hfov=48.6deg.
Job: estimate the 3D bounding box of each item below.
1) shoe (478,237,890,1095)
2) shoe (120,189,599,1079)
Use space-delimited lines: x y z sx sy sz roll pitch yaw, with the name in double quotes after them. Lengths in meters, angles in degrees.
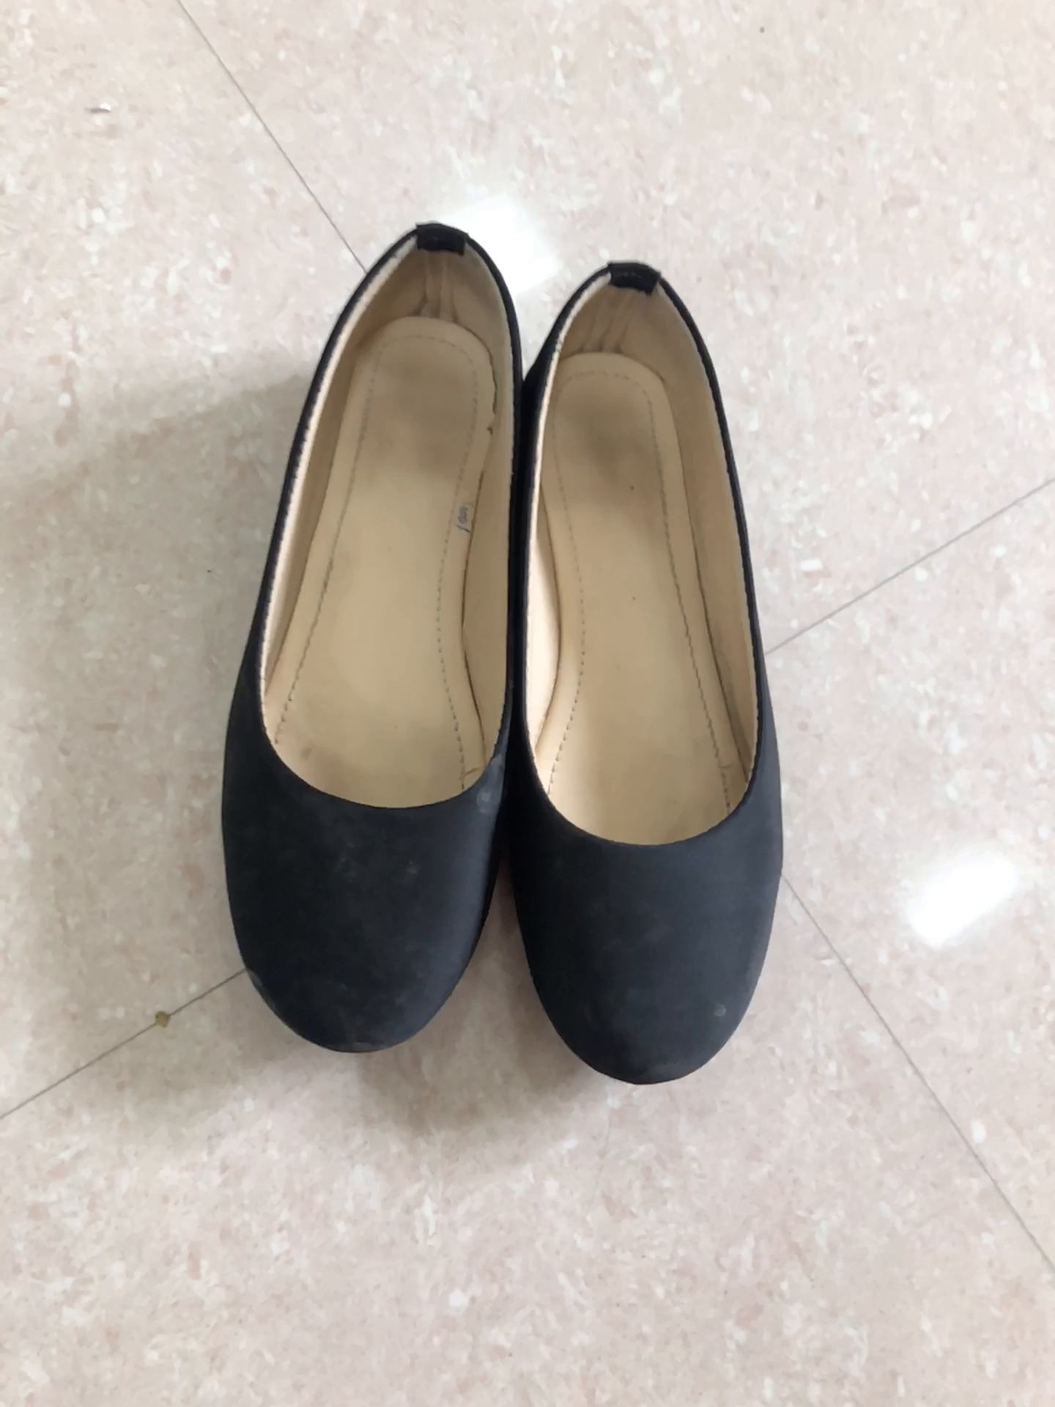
0.035 -0.010 0.347 0.092 0.075 0.239 2 72 -7 "shoe"
-0.040 -0.020 0.342 0.092 0.075 0.239 7 71 -5 "shoe"
